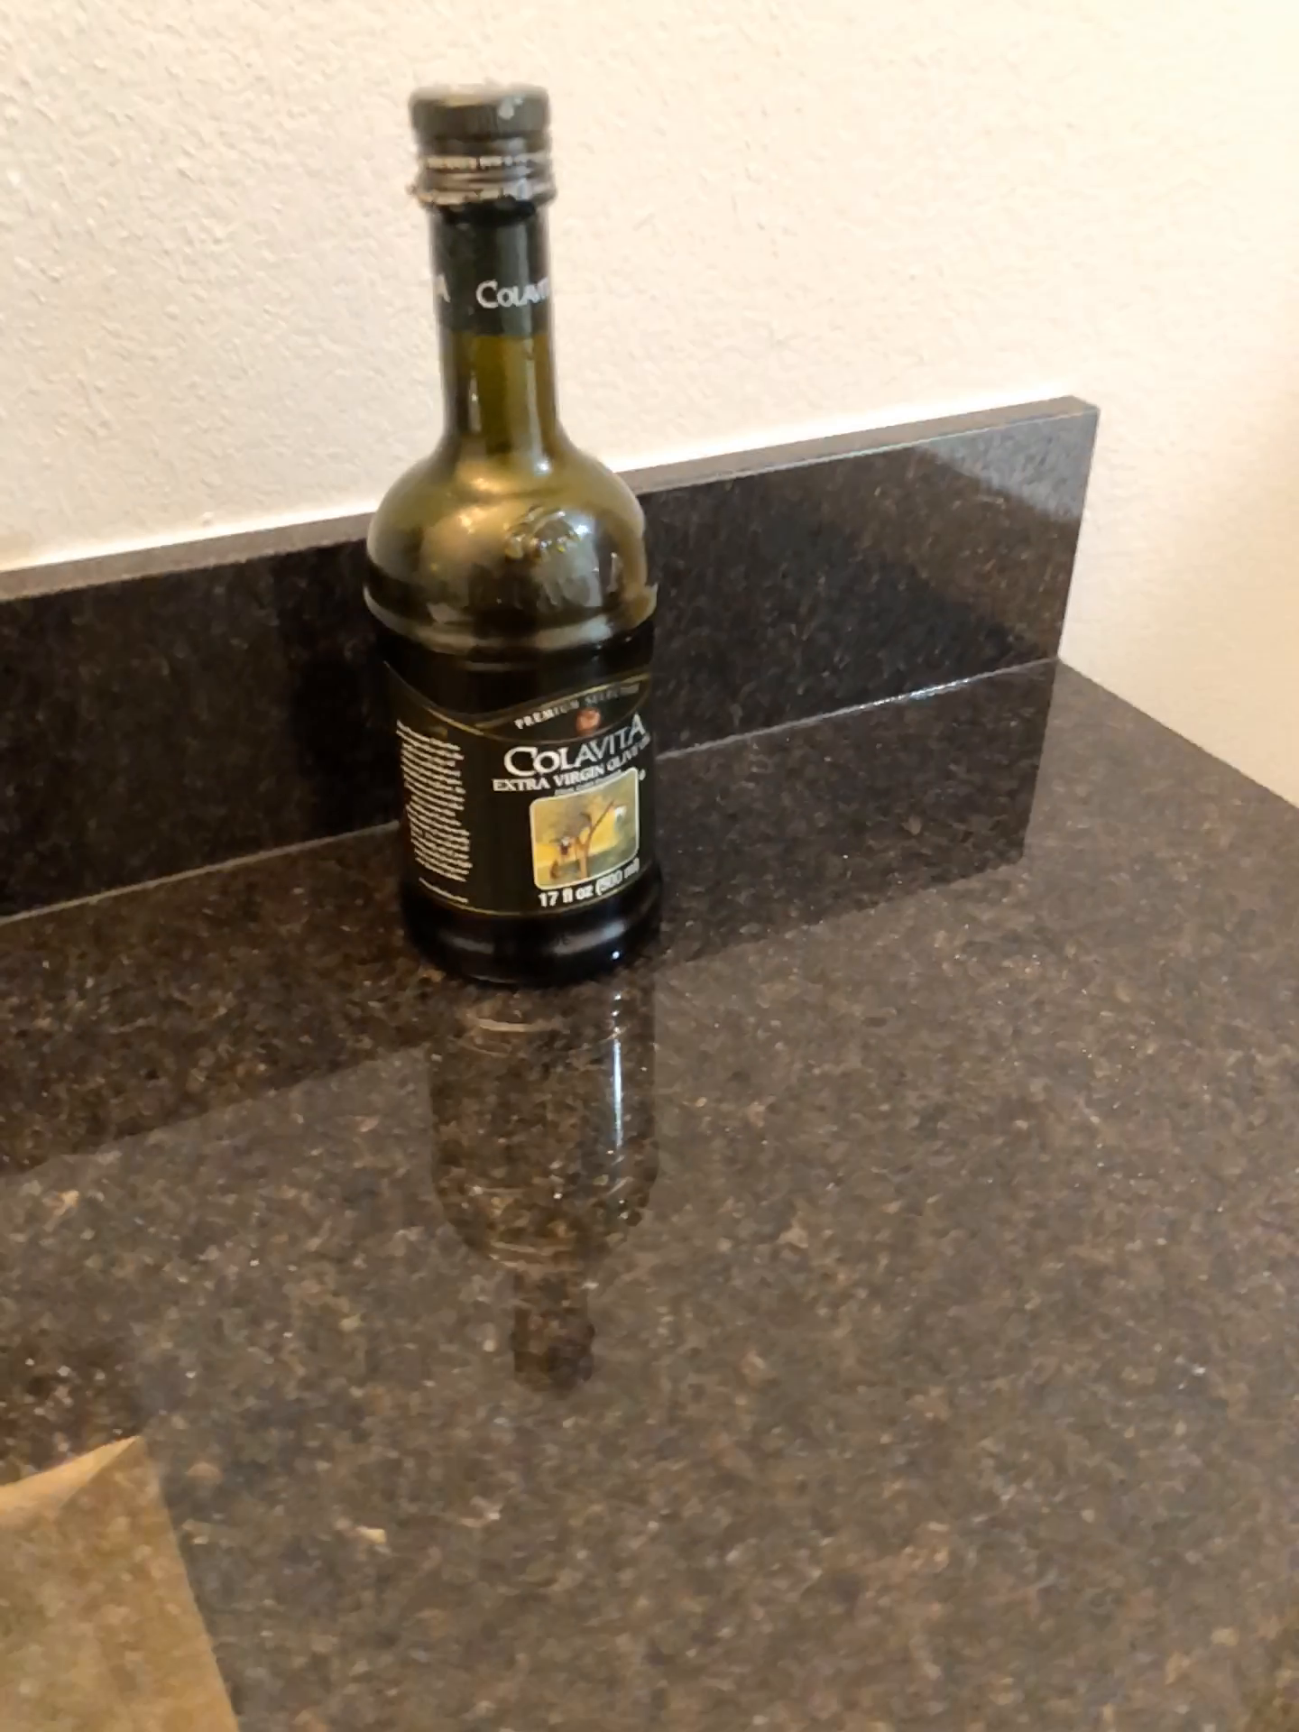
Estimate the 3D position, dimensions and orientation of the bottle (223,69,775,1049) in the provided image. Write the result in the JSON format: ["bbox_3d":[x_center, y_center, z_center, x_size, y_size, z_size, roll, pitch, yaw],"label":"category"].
[{"bbox_3d":[-0.036,-0.077,0.375,0.090,0.219,0.090,0,34,0],"label":"bottle"}]
